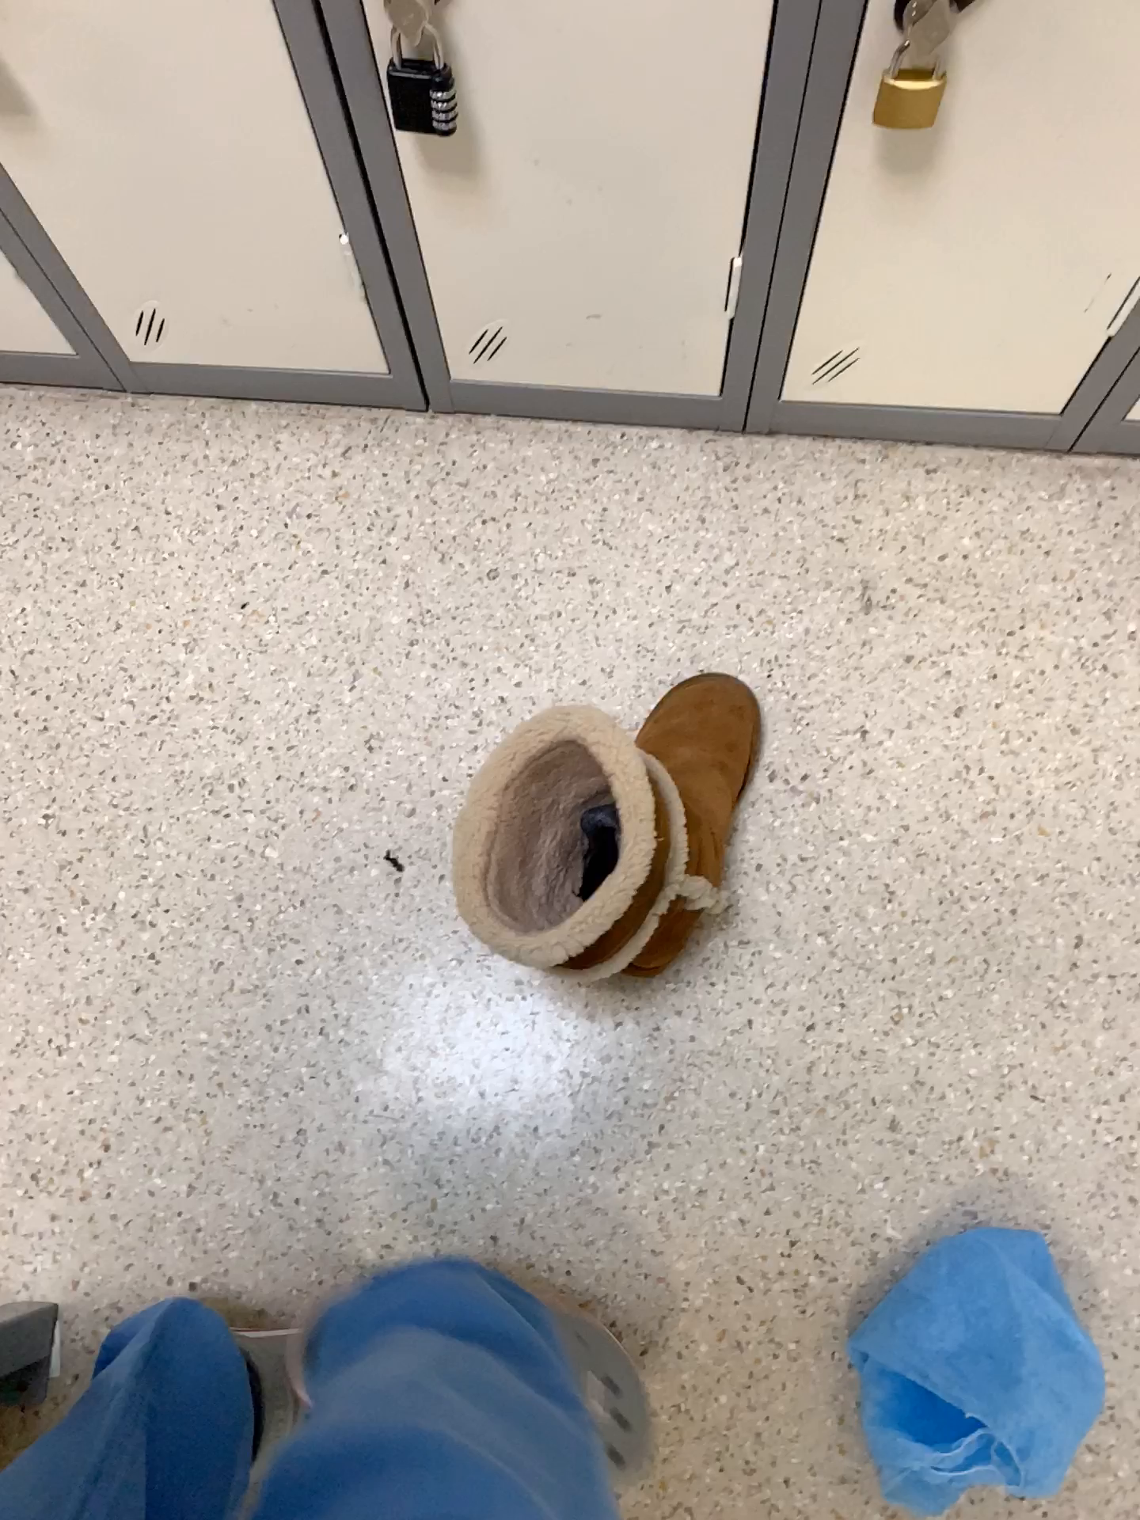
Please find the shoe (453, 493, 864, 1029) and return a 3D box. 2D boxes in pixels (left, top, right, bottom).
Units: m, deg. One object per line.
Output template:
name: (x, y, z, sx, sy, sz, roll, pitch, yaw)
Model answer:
shoe: (0.068, 0.016, 0.865, 0.158, 0.245, 0.306, 22, 75, 9)
